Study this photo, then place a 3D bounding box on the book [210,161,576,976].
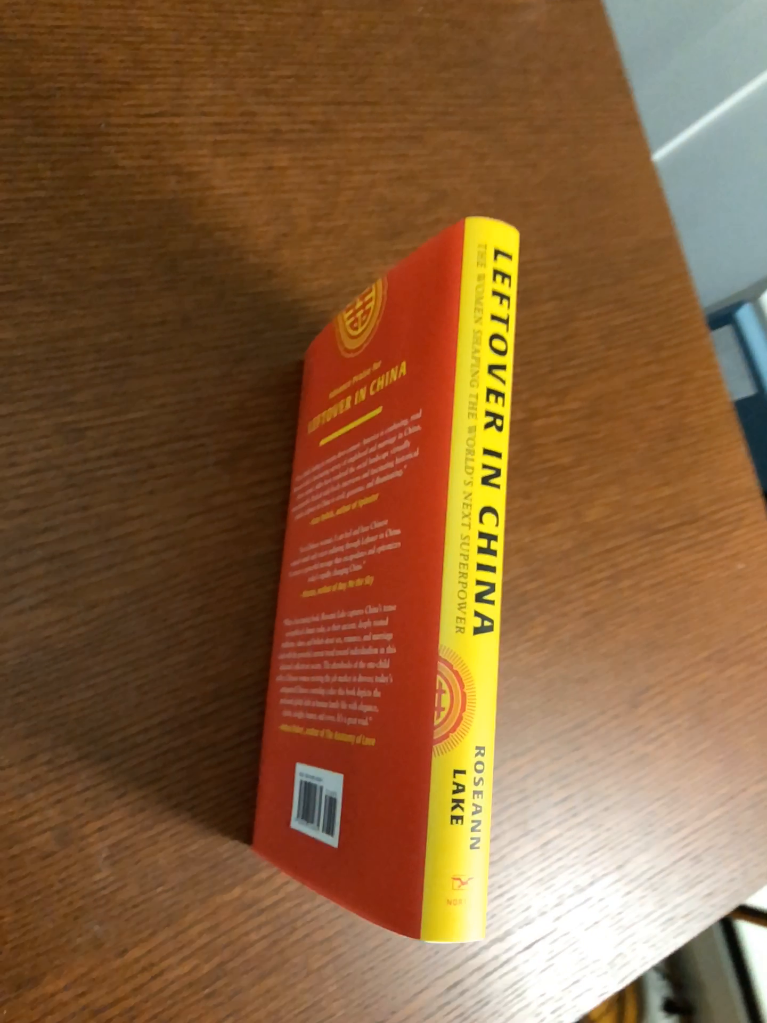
[{"bbox_3d":[-0.004,0.024,0.361,0.060,0.179,0.260,11,76,-24],"label":"book"}]
